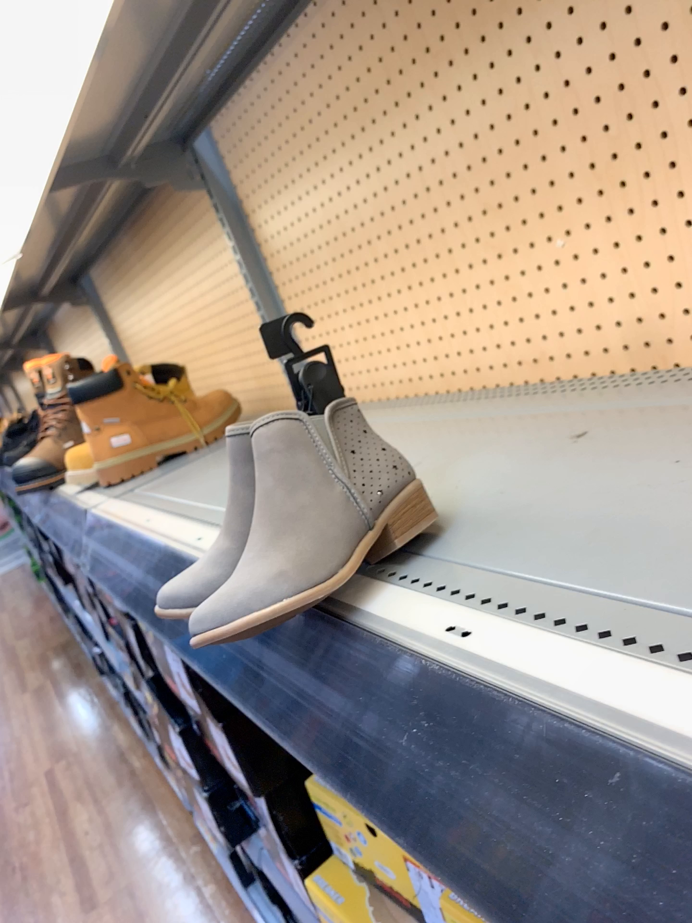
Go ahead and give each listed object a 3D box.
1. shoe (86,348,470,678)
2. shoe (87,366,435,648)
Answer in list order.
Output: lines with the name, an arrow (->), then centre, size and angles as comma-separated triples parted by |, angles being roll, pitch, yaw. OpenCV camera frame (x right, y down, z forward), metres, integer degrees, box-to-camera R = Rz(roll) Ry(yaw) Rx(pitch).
shoe -> -0.037, 0.027, 0.432 | 0.186, 0.113, 0.074 | -29, -1, -31
shoe -> -0.058, 0.023, 0.495 | 0.196, 0.103, 0.087 | -26, 10, -13
